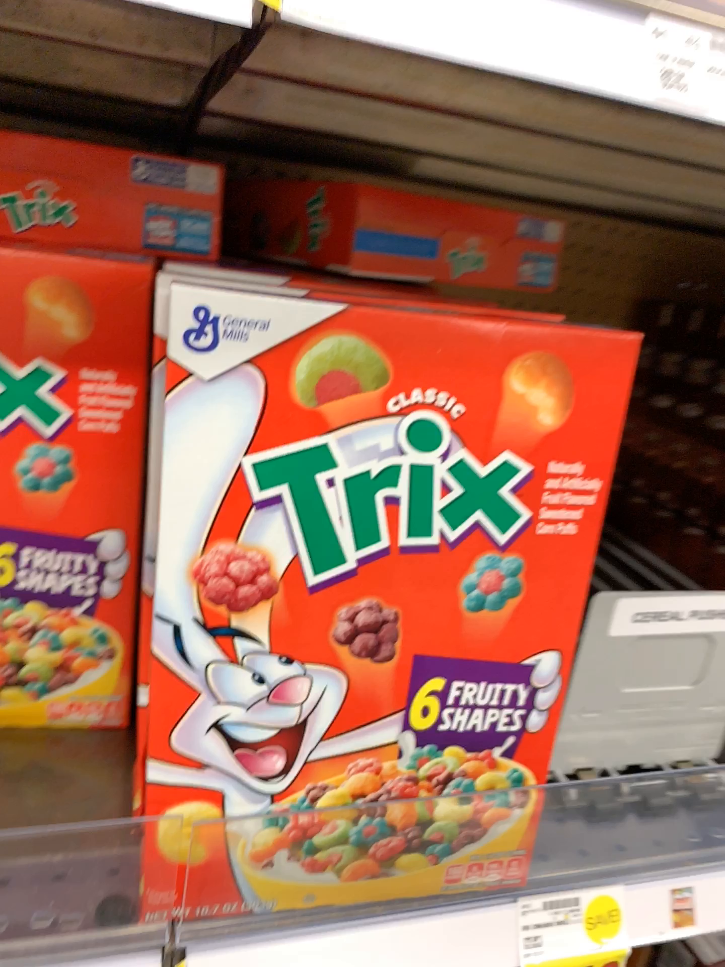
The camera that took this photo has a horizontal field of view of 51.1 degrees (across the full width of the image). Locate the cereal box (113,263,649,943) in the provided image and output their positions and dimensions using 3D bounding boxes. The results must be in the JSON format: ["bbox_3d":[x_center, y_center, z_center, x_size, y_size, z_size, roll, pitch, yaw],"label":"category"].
[{"bbox_3d":[-0.004,0.061,0.353,0.200,0.289,0.060,3,17,-17],"label":"cereal box"}]
